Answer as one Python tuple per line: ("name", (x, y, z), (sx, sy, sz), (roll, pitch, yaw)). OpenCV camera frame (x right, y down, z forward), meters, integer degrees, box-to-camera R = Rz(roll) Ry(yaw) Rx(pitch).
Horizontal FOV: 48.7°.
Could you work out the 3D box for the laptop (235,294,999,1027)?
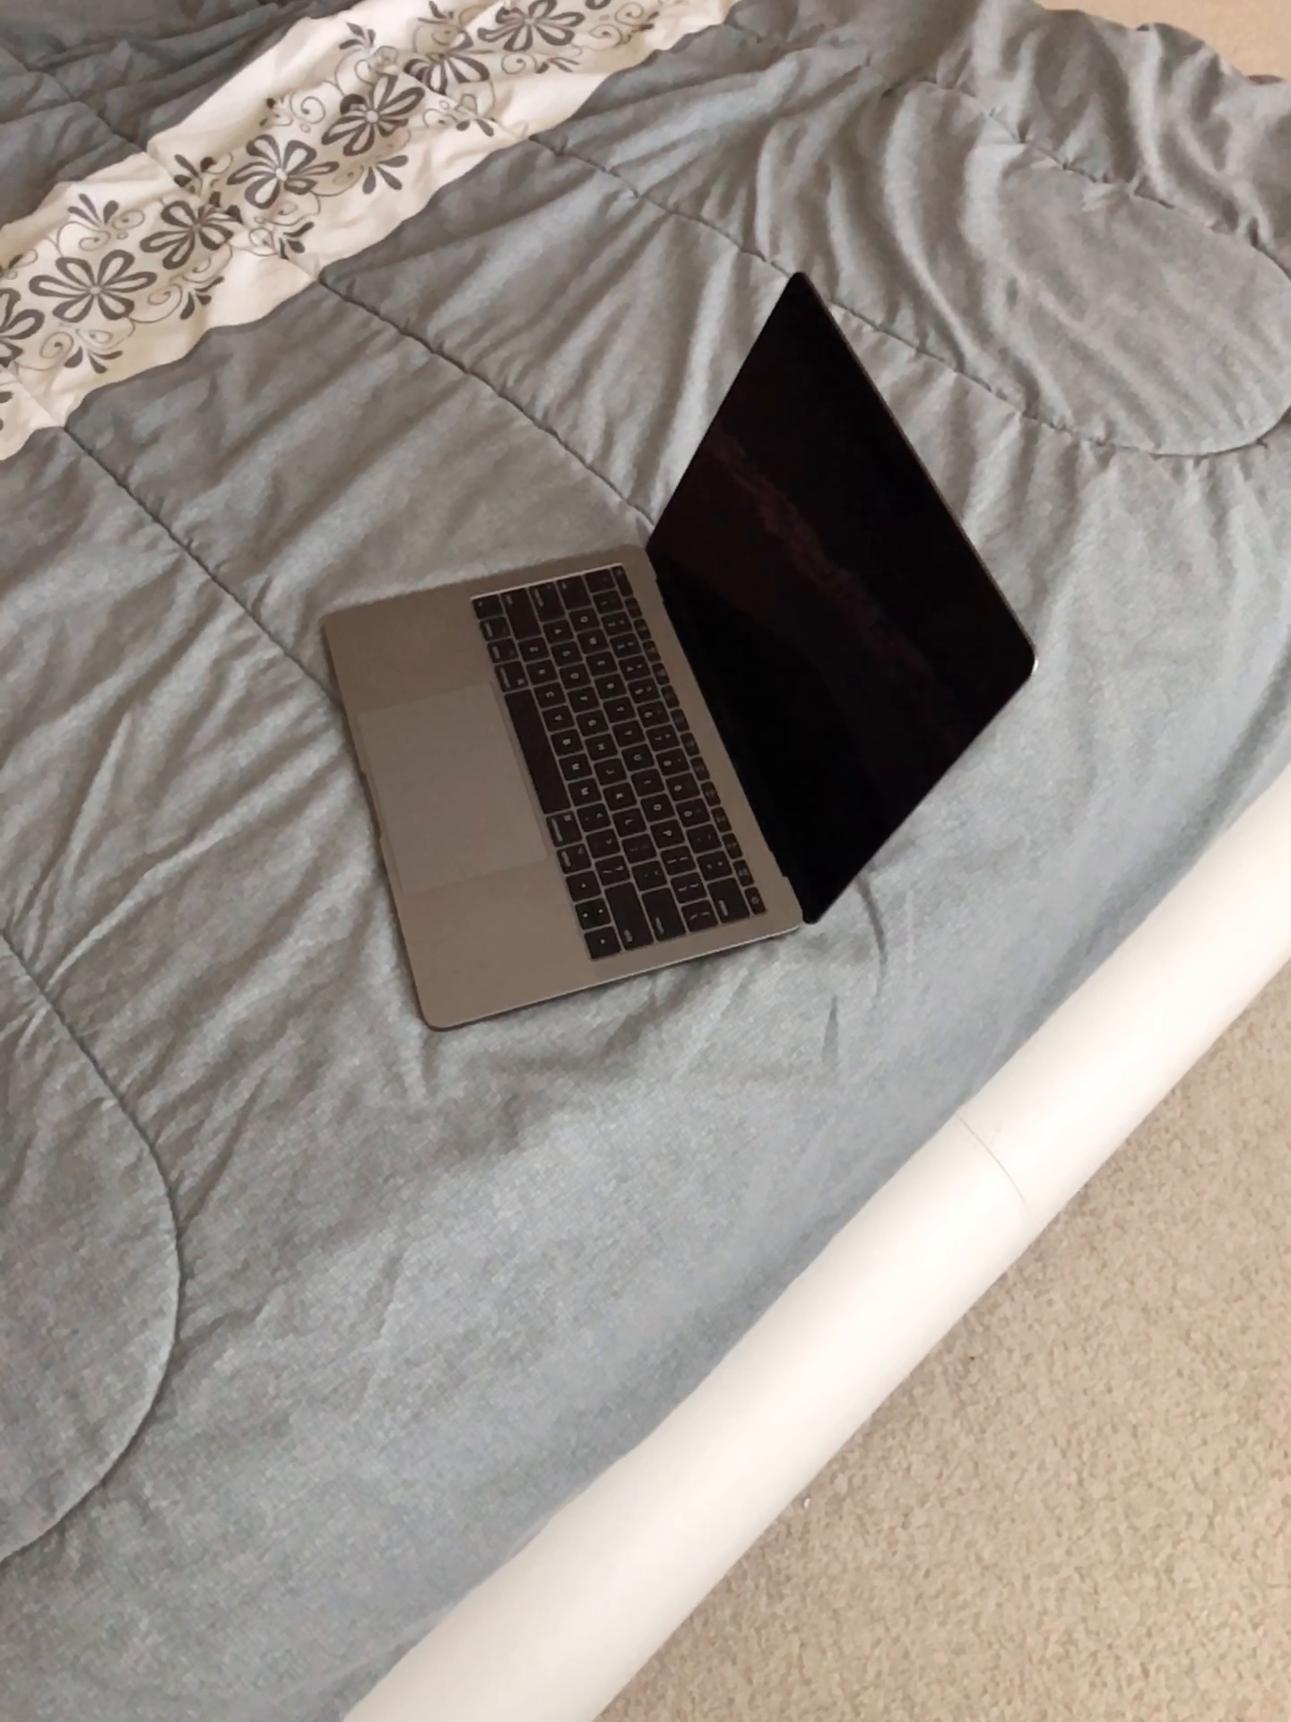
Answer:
("laptop", (-0.020, -0.109, 0.723), (0.281, 0.159, 0.280), (-16, 58, -8))
